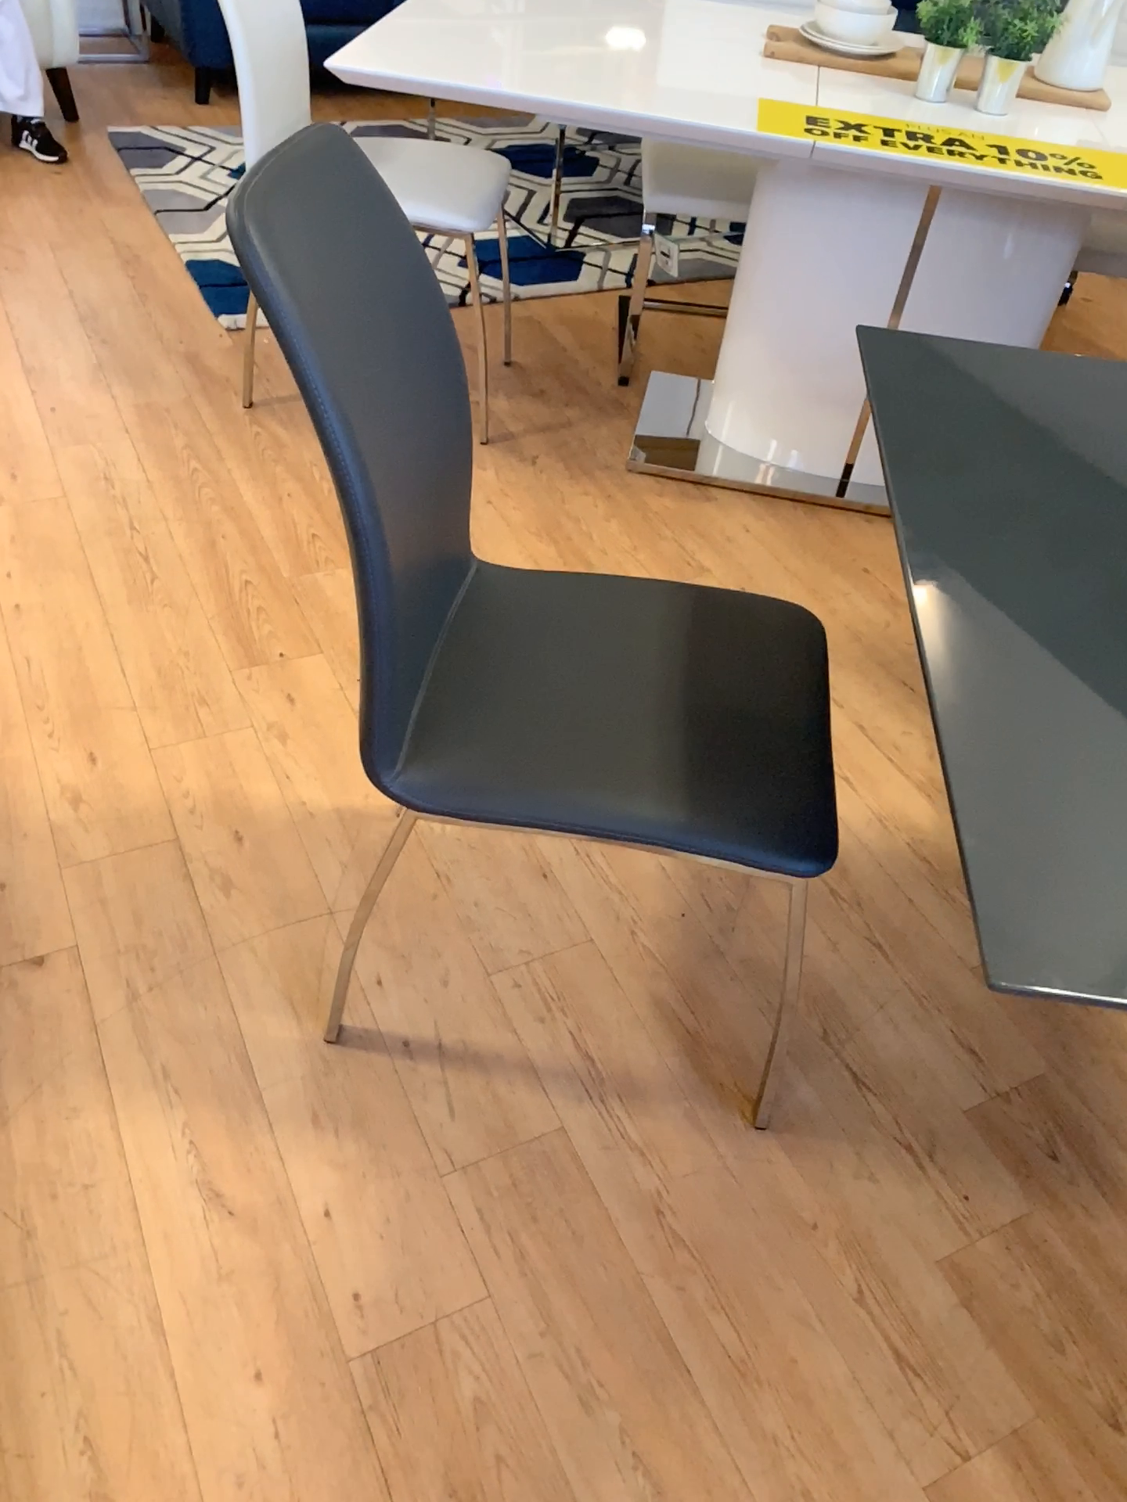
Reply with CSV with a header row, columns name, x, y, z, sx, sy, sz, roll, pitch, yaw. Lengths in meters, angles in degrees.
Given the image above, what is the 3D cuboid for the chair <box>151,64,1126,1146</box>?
name,x,y,z,sx,sy,sz,roll,pitch,yaw
chair,0.039,-0.103,1.209,0.630,0.911,0.515,10,43,2
